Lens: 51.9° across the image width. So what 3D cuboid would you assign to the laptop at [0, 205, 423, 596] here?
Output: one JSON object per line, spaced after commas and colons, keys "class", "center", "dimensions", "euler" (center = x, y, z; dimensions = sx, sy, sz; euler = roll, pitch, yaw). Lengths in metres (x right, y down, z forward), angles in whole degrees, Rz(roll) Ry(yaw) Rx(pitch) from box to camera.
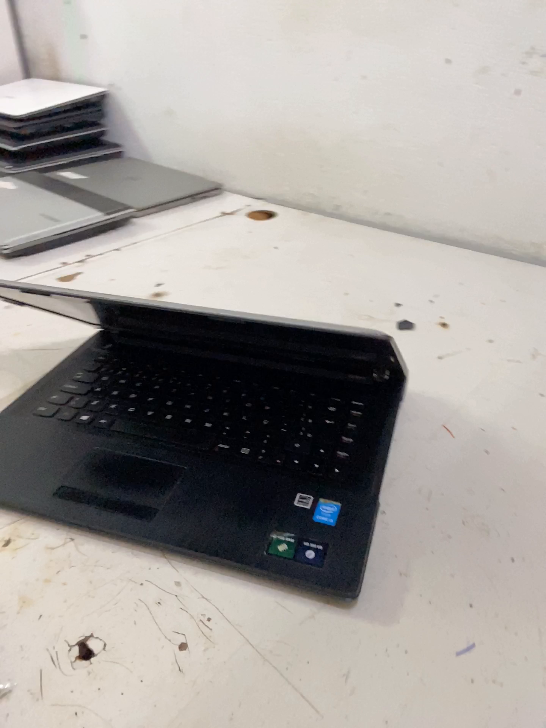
{"class": "laptop", "center": [-0.077, -0.008, 0.456], "dimensions": [0.344, 0.148, 0.246], "euler": [9, 34, 17]}
